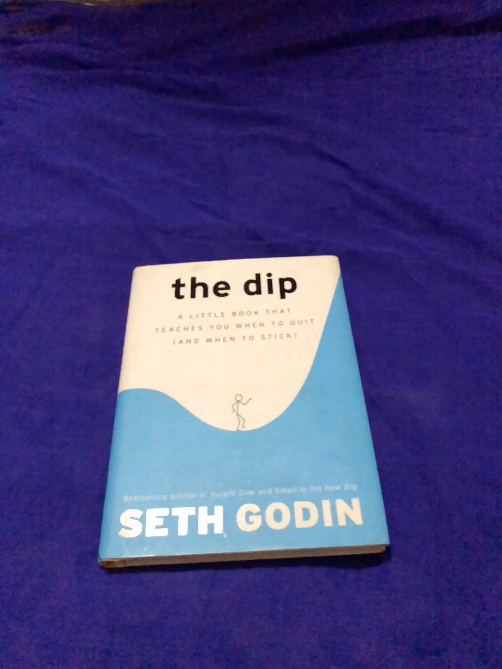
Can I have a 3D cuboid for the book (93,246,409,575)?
[{"bbox_3d":[-0.005,0.028,0.314,0.140,0.020,0.190,-3,52,-1],"label":"book"}]
